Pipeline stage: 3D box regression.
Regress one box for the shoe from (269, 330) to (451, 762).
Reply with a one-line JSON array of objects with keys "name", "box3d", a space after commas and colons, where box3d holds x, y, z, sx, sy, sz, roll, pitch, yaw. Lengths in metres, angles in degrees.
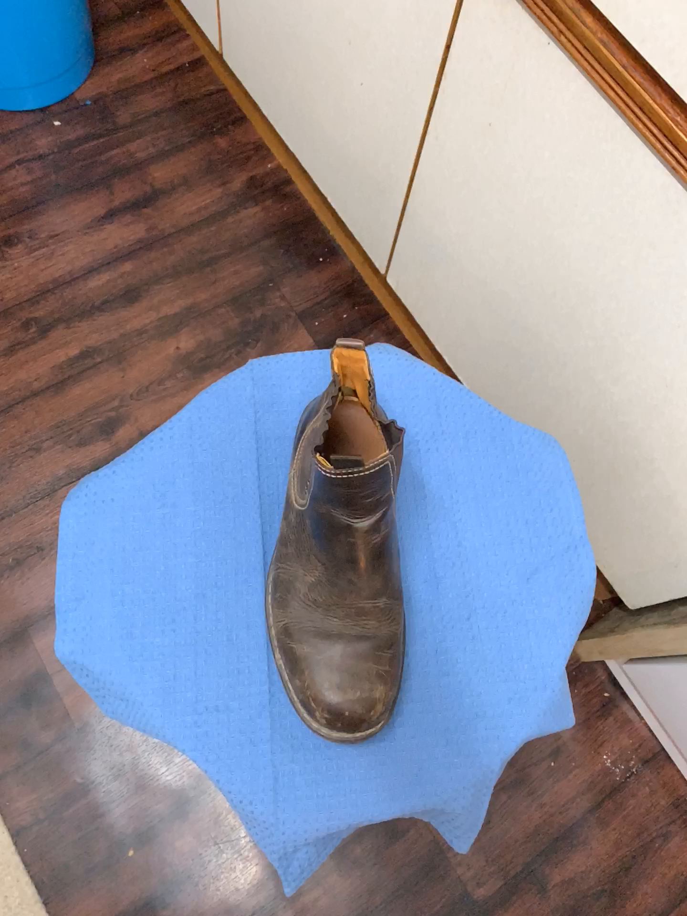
[{"name": "shoe", "box3d": [0.002, 0.068, 0.524, 0.105, 0.157, 0.279, 2, 71, -6]}]
